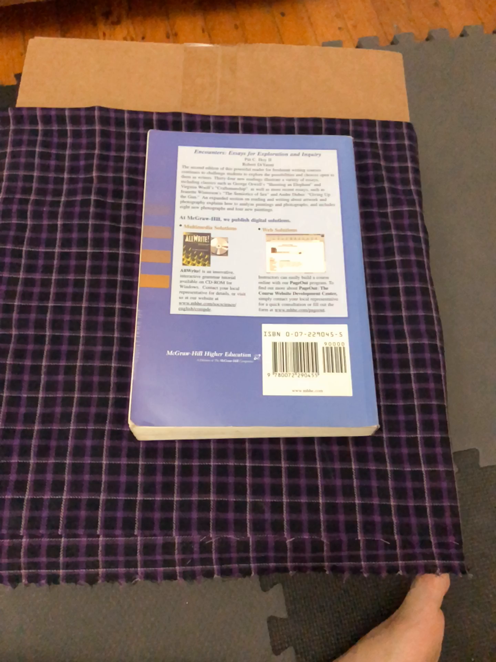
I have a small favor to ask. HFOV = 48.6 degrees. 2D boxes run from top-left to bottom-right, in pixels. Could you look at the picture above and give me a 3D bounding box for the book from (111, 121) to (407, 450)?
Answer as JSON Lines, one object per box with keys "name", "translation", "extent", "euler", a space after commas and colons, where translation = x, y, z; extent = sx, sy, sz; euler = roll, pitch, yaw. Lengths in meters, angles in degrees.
{"name": "book", "translation": [0.003, -0.041, 0.396], "extent": [0.180, 0.040, 0.241], "euler": [-1, 69, -3]}
